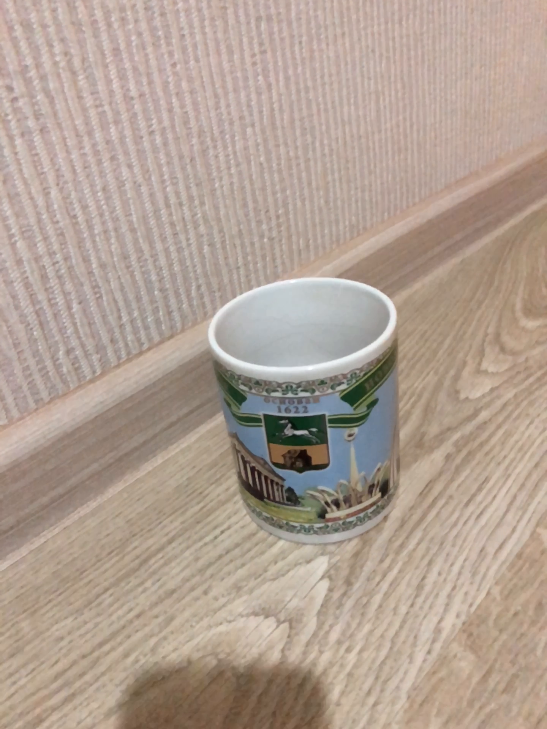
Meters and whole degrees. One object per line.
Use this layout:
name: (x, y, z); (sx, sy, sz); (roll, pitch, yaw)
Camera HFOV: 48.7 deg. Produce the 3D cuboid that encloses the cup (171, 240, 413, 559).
cup: (0.022, 0.009, 0.294); (0.082, 0.096, 0.122); (1, 32, 16)
